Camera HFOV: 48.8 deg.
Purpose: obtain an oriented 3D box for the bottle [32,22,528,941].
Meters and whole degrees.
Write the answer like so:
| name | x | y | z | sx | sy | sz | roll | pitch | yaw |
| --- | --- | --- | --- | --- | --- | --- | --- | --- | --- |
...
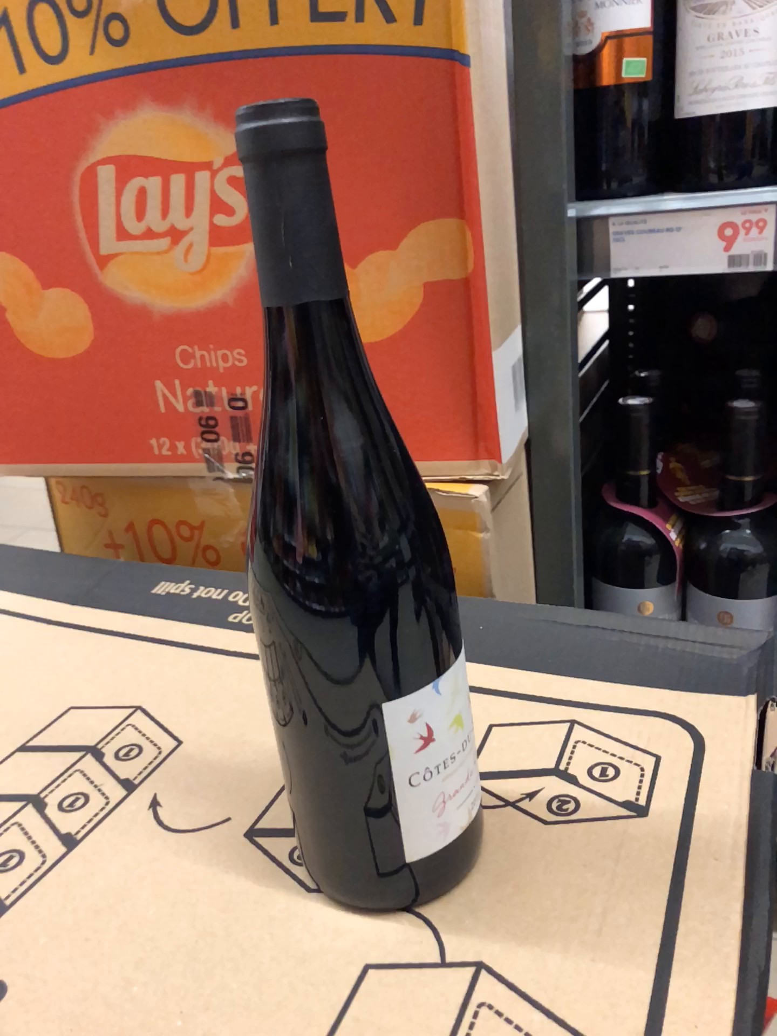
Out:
| name | x | y | z | sx | sy | sz | roll | pitch | yaw |
| --- | --- | --- | --- | --- | --- | --- | --- | --- | --- |
| bottle | -0.017 | -0.002 | 0.312 | 0.090 | 0.289 | 0.101 | -1 | 22 | 21 |
